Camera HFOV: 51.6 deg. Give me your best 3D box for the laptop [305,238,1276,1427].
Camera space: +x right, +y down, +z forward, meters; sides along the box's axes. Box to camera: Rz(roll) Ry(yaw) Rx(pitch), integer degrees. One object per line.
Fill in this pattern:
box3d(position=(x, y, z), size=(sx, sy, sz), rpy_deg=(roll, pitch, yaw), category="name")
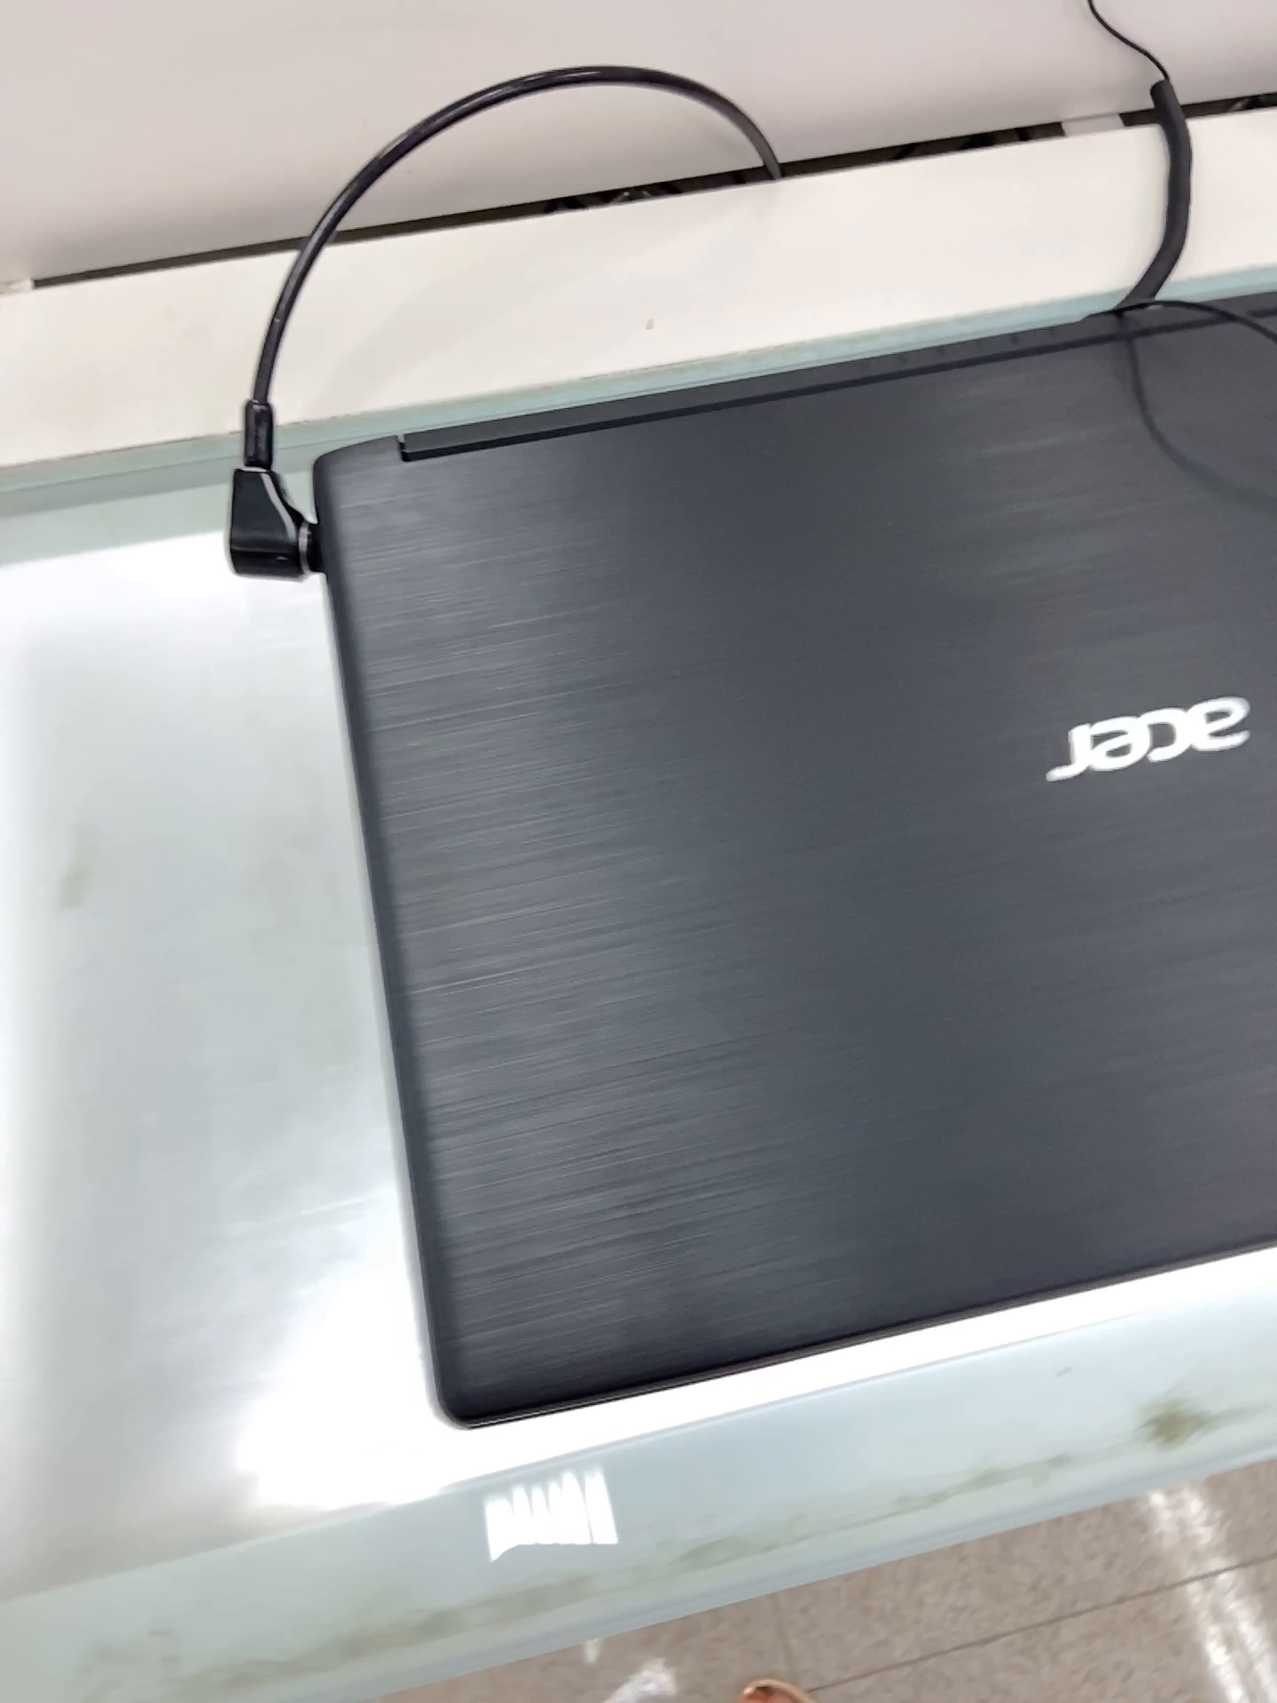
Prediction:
box3d(position=(0.125, -0.039, 0.323), size=(0.387, 0.001, 0.248), rpy_deg=(-12, 62, -6), category="laptop")
